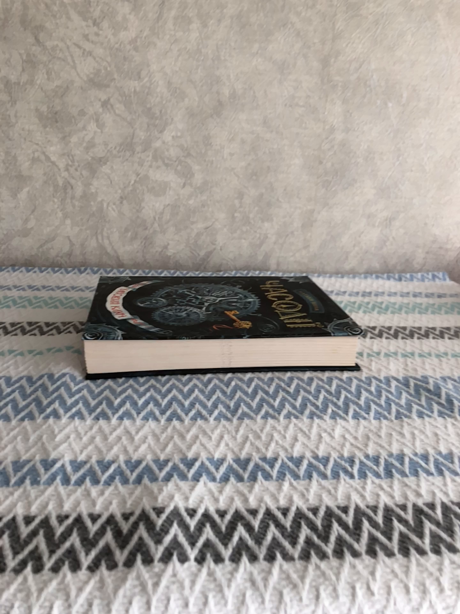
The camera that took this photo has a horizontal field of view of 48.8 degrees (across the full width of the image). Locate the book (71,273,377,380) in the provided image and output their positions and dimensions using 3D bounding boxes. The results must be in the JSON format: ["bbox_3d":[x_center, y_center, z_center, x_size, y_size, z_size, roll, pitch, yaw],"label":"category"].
[{"bbox_3d":[-0.013,0.009,0.477,0.238,0.032,0.178,0,20,-10],"label":"book"}]
